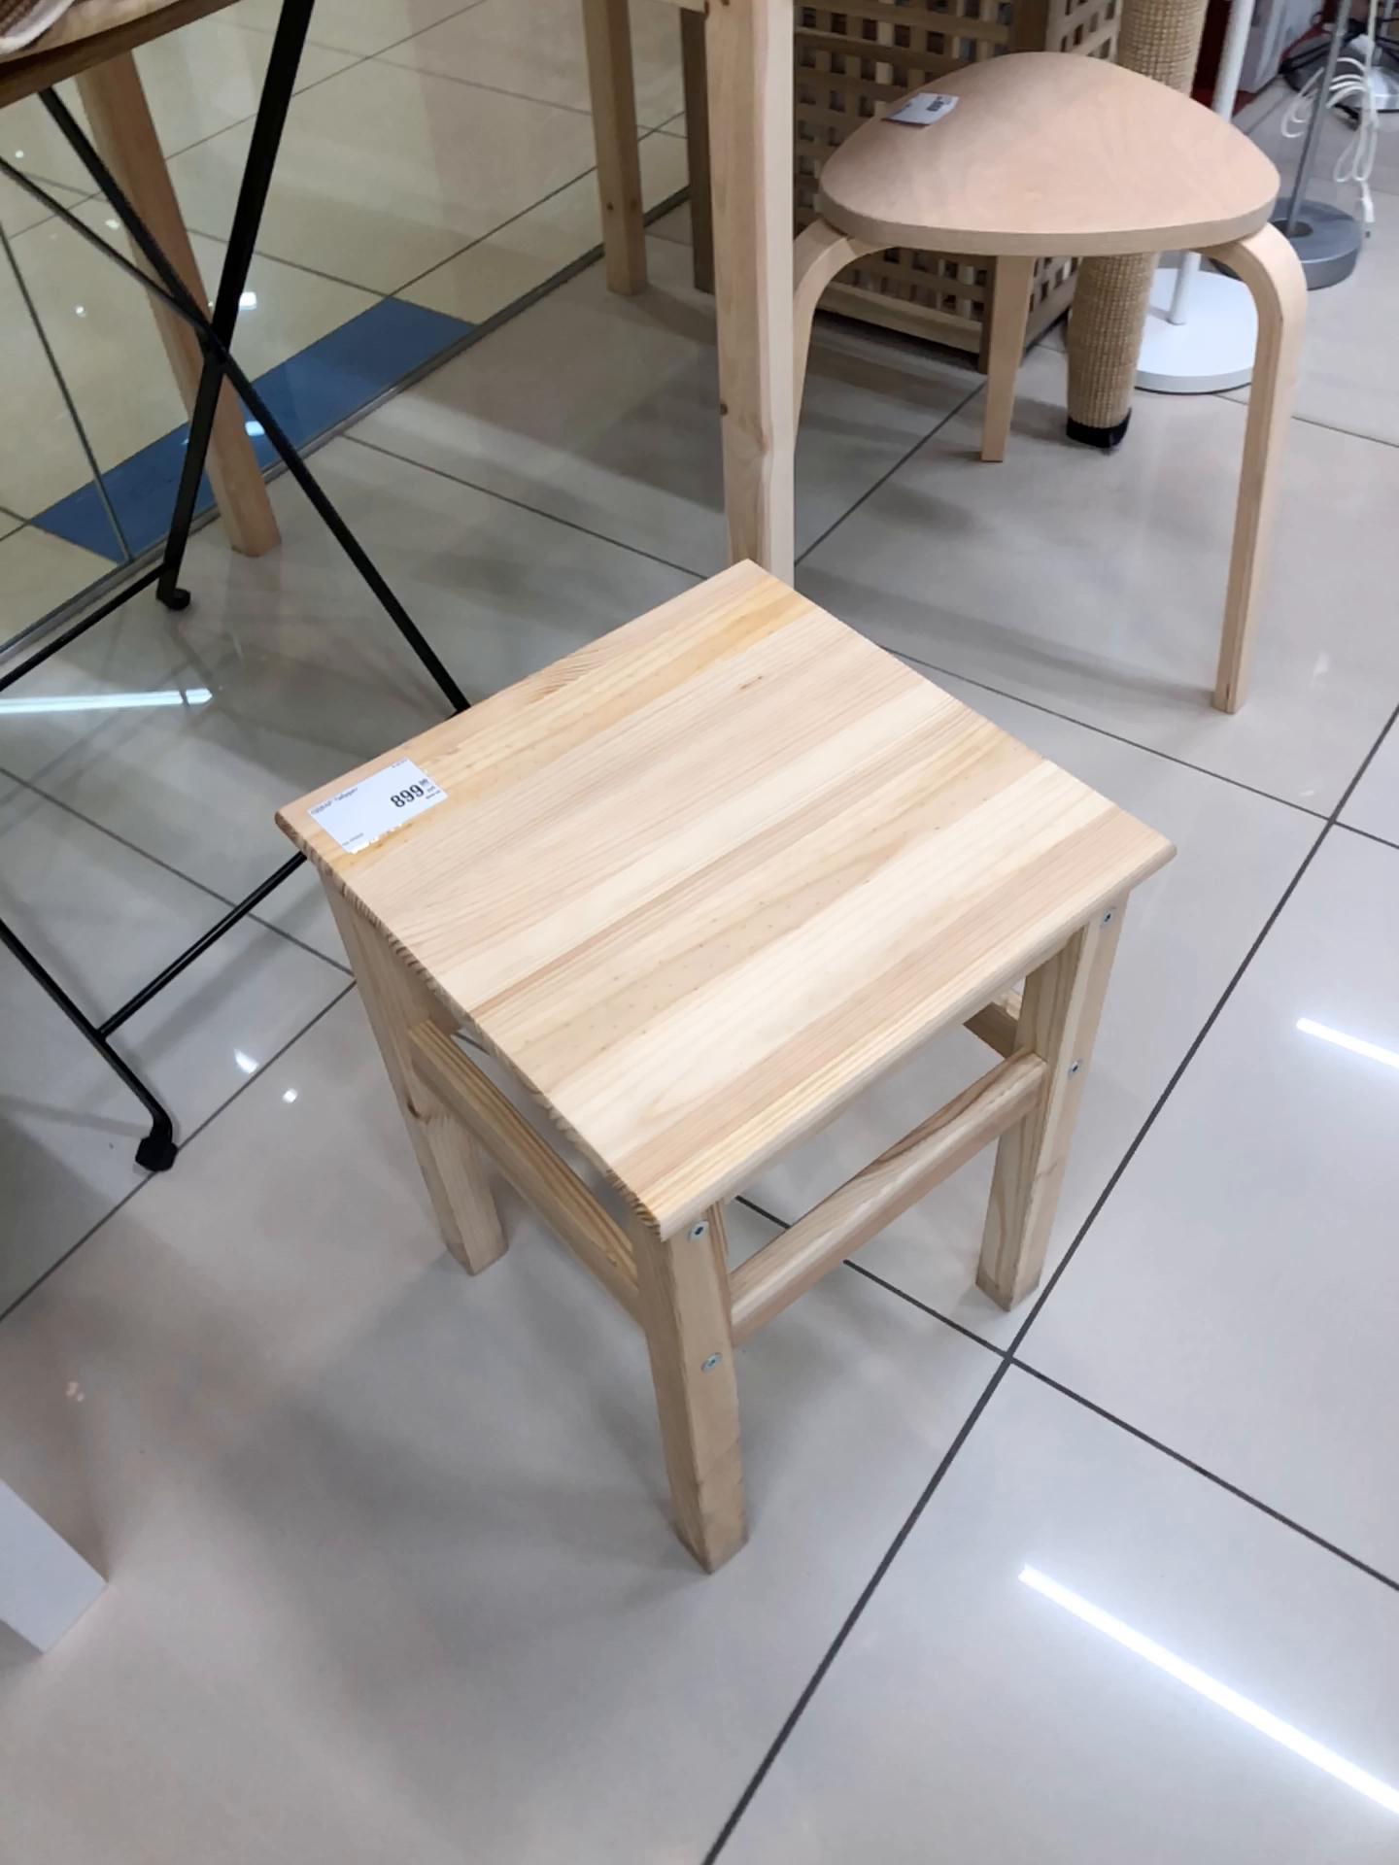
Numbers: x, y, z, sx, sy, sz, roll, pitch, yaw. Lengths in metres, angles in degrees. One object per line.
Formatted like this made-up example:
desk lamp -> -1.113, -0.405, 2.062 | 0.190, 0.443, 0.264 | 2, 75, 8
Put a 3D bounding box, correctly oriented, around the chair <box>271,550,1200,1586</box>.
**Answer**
chair -> 0.021, 0.082, 0.903 | 0.327, 0.407, 0.321 | -33, 55, -23
